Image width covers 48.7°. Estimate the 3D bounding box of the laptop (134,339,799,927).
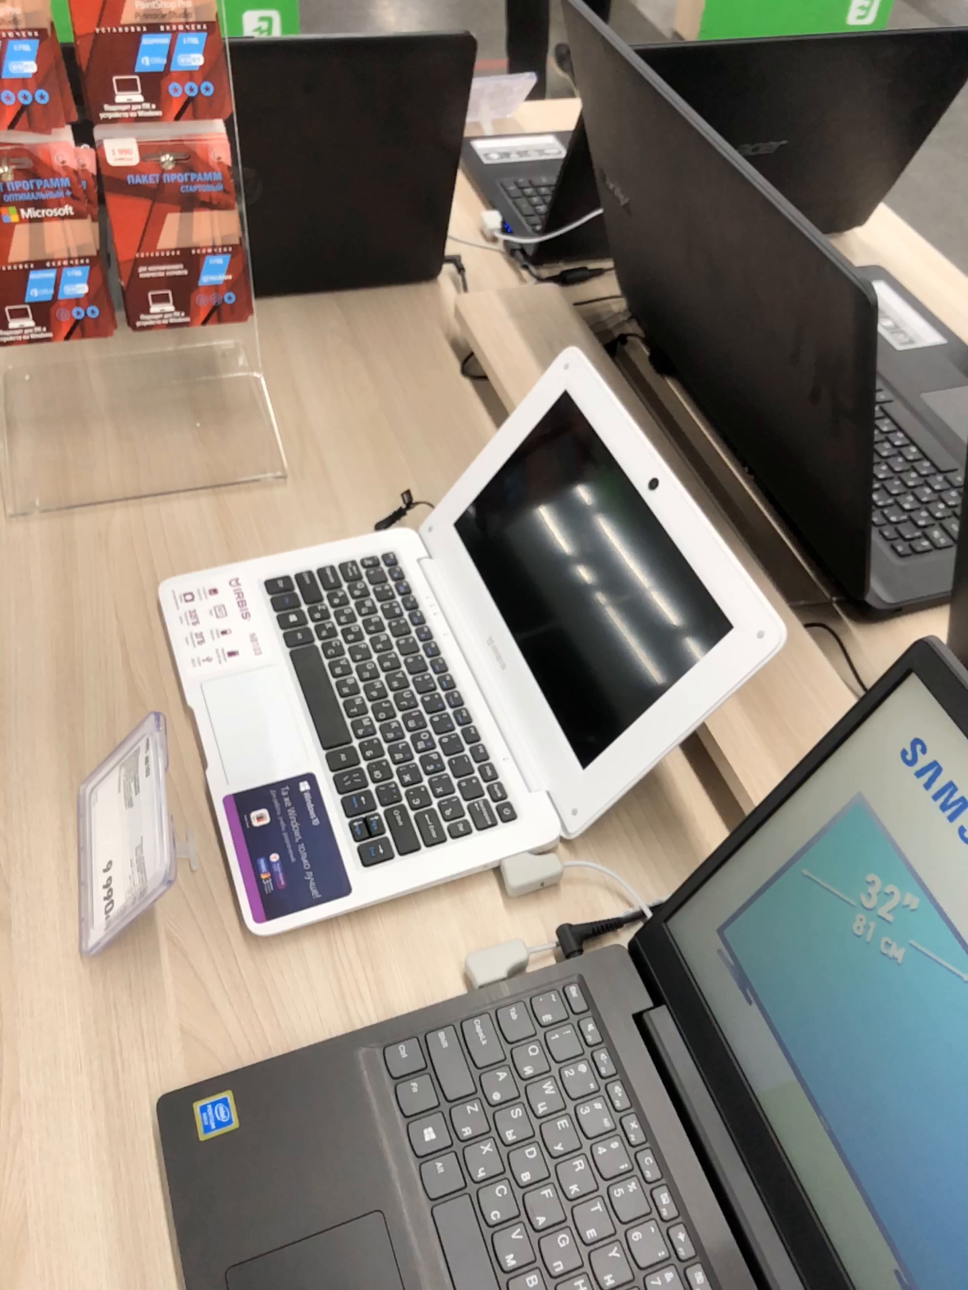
[{"bbox_3d":[-0.032,-0.029,0.694,0.317,0.144,0.297,-14,50,-15],"label":"laptop"}]
